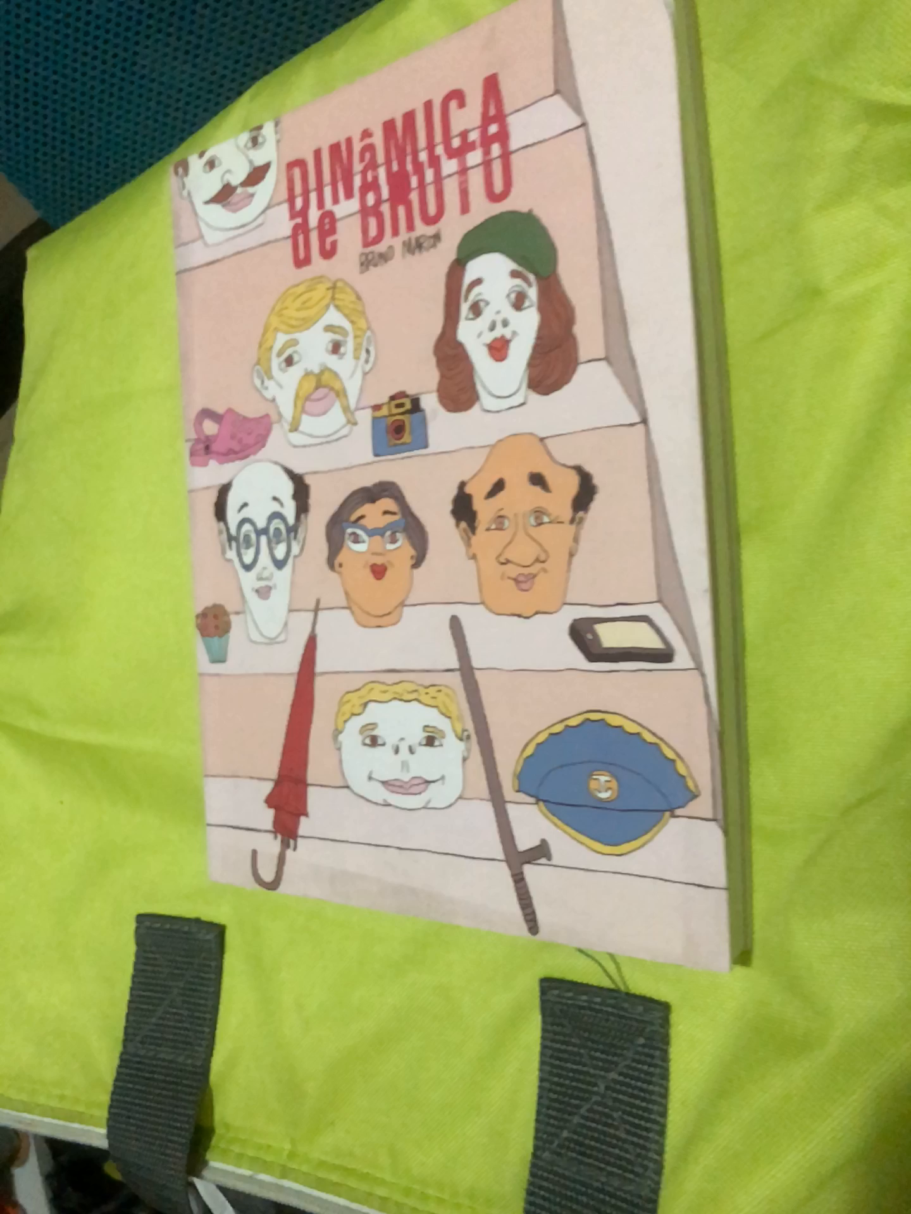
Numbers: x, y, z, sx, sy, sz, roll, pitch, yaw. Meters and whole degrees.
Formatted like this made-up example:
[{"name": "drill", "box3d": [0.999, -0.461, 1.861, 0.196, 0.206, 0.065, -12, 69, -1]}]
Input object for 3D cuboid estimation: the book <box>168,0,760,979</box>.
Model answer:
[{"name": "book", "box3d": [-0.012, -0.035, 0.286, 0.179, 0.020, 0.239, -4, 89, 38]}]
